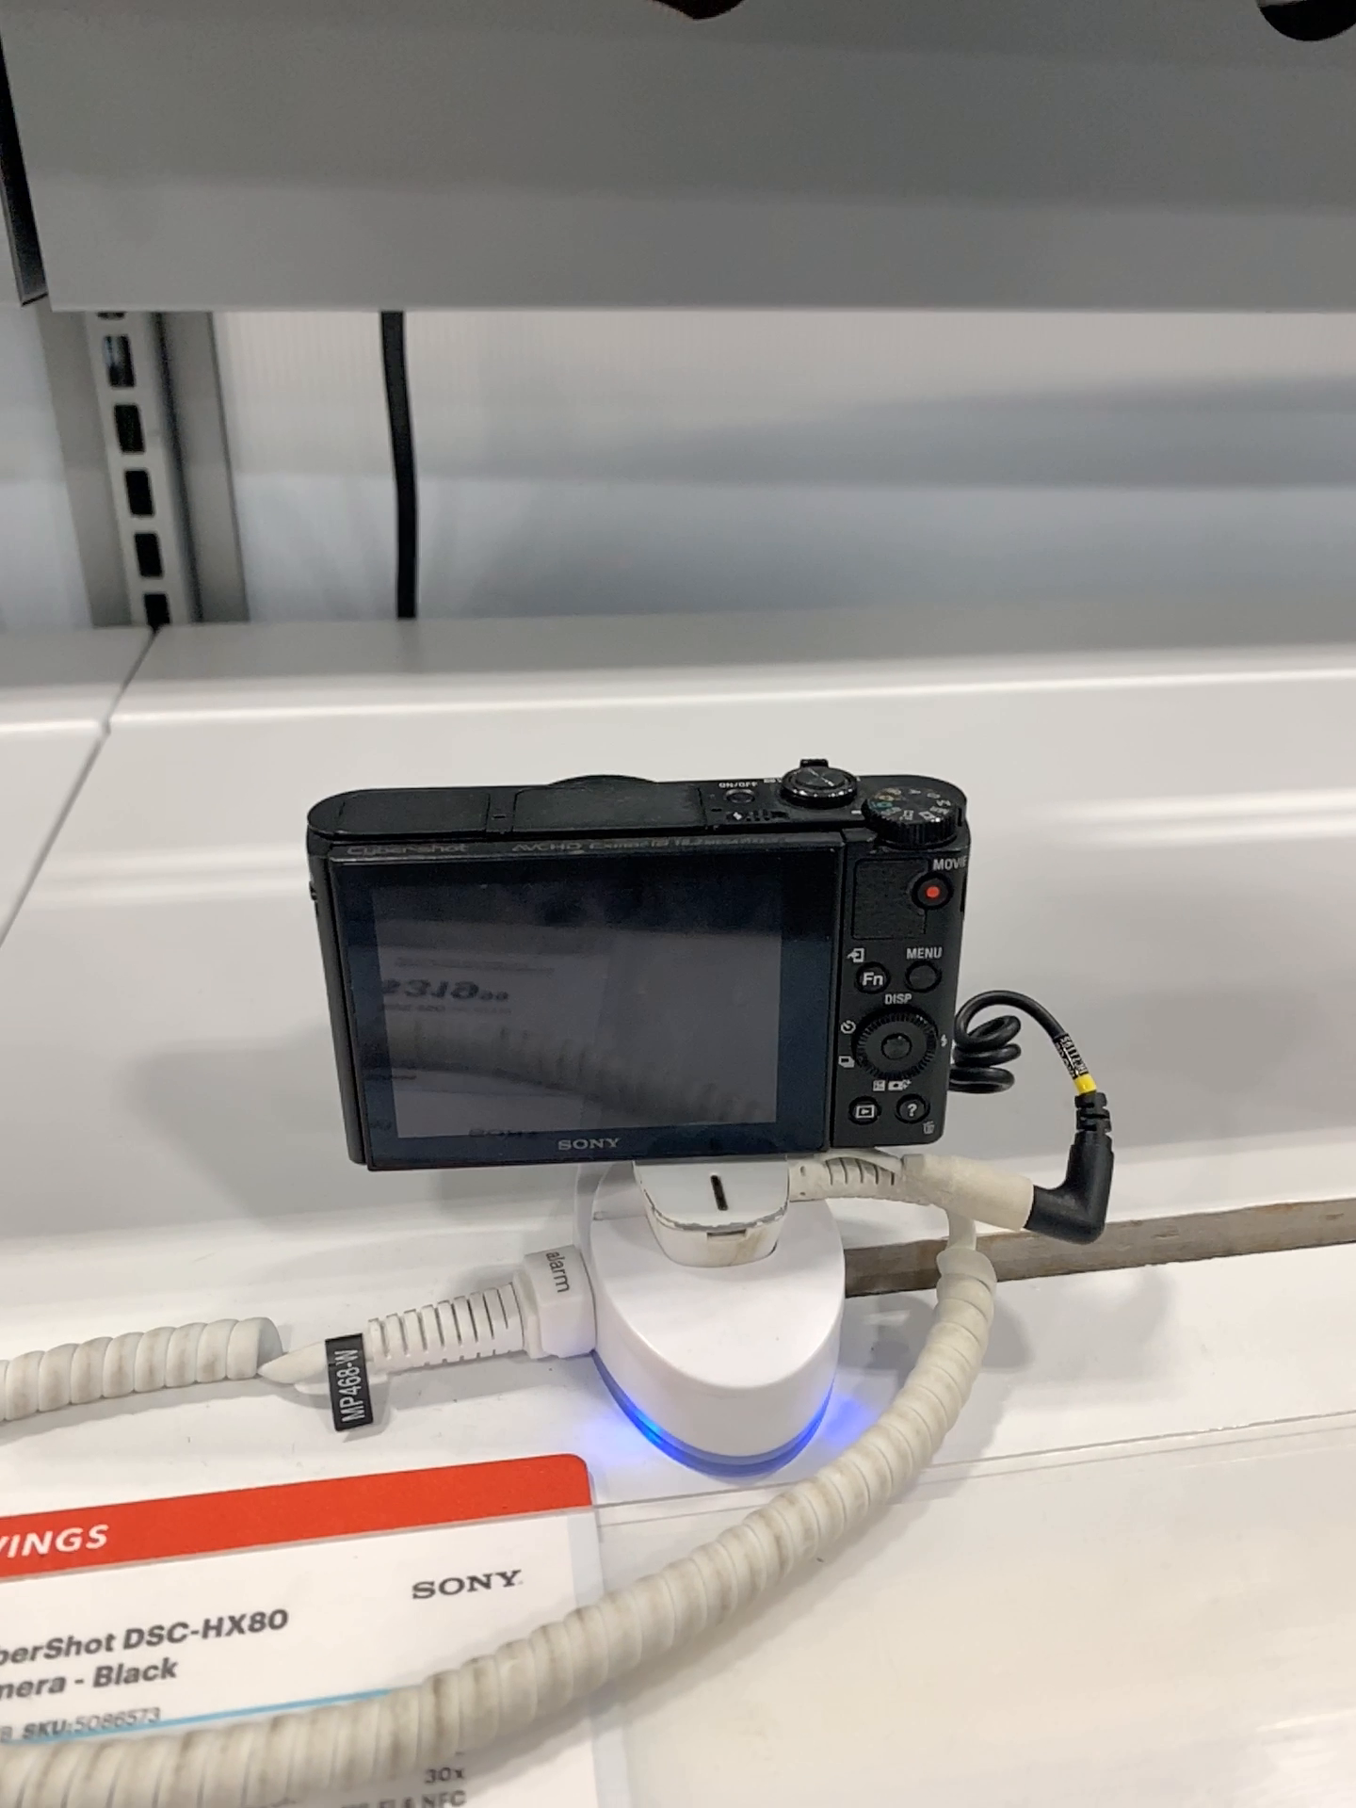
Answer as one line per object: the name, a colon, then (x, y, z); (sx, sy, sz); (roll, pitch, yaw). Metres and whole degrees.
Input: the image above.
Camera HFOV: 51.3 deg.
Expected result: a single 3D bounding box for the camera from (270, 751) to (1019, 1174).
camera: (-0.006, 0.008, 0.224); (0.104, 0.052, 0.040); (-1, 27, -5)
